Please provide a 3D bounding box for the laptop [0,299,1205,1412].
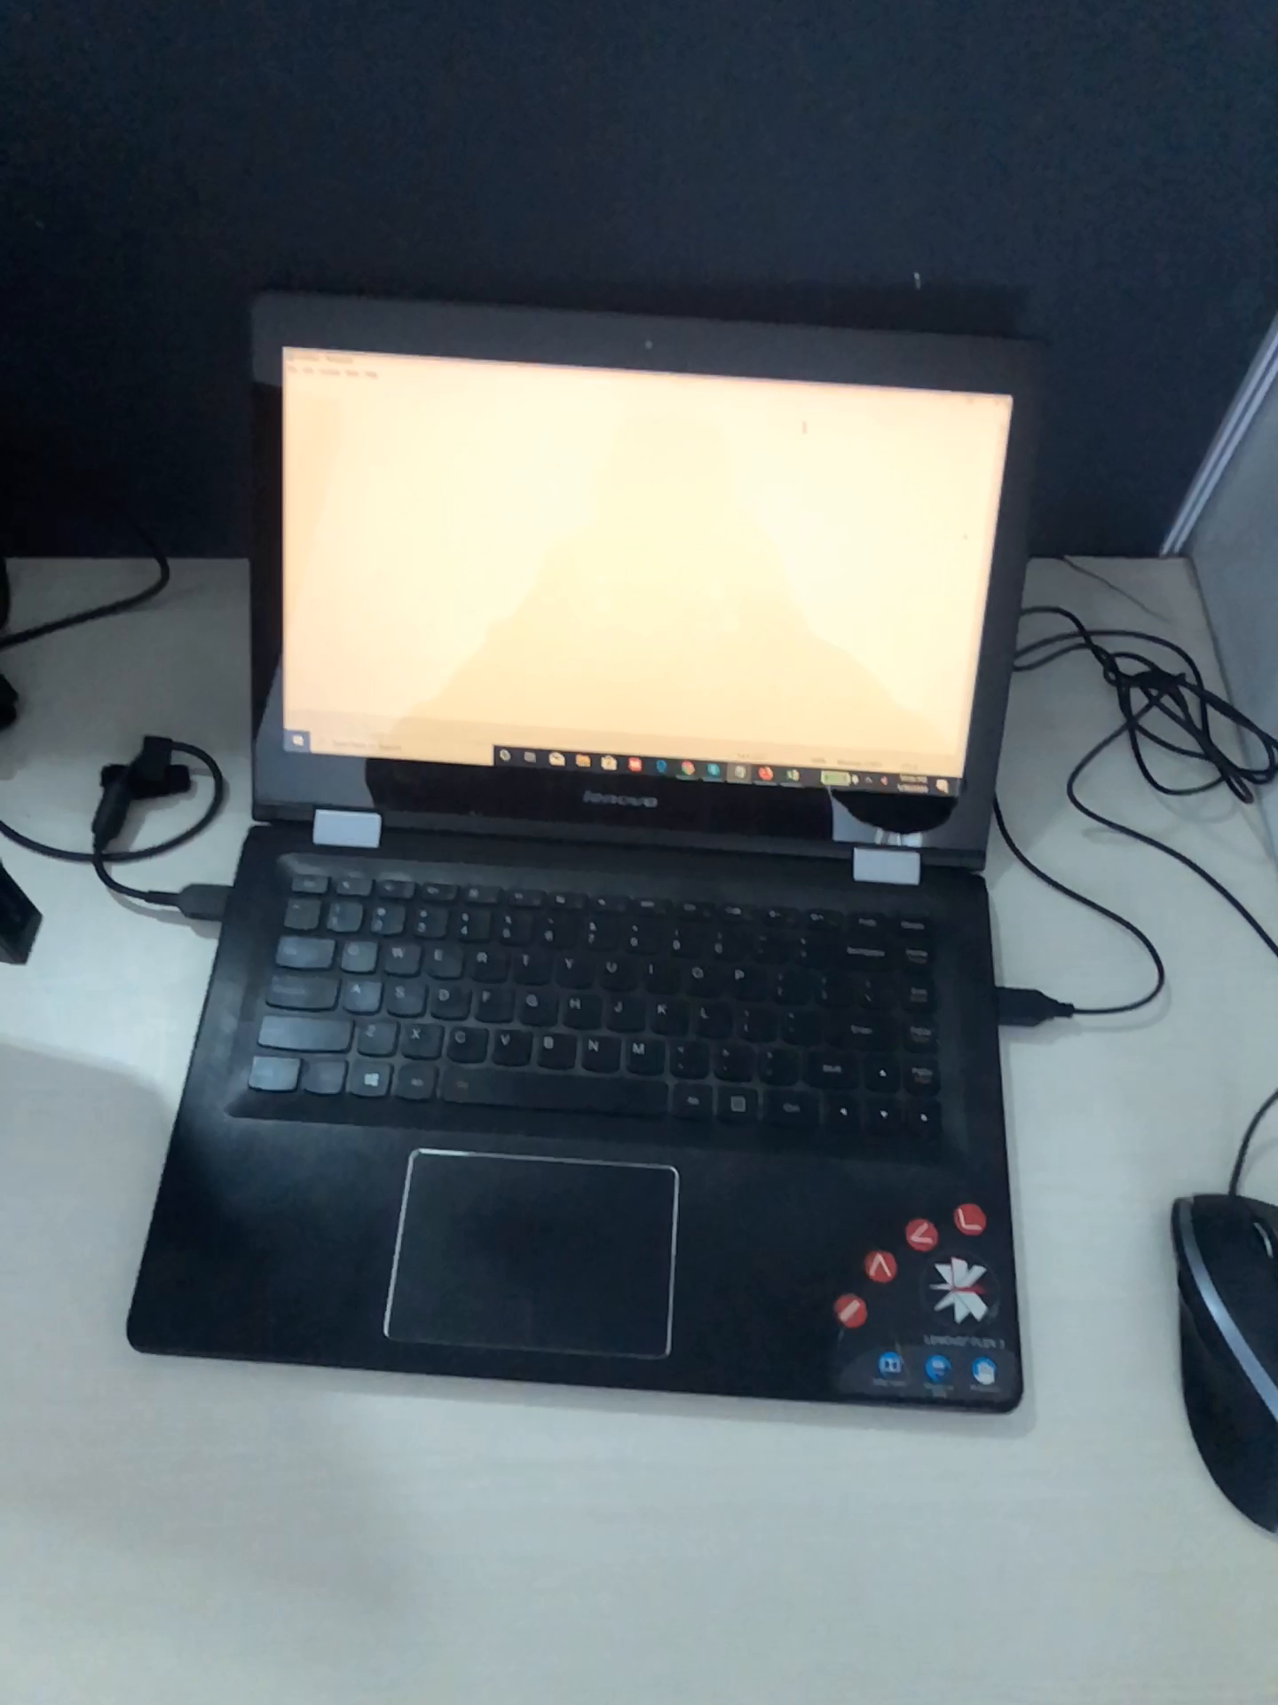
[{"bbox_3d":[-0.009,-0.013,0.551,0.334,0.171,0.387,4,57,0],"label":"laptop"}]
